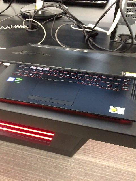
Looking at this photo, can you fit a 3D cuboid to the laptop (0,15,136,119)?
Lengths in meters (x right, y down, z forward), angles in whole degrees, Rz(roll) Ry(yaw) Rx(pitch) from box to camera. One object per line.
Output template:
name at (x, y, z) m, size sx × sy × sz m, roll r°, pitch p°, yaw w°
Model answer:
laptop at (-0.009, -0.084, 0.492) m, size 0.397 × 0.121 × 0.248 m, roll 10°, pitch 50°, yaw 12°
